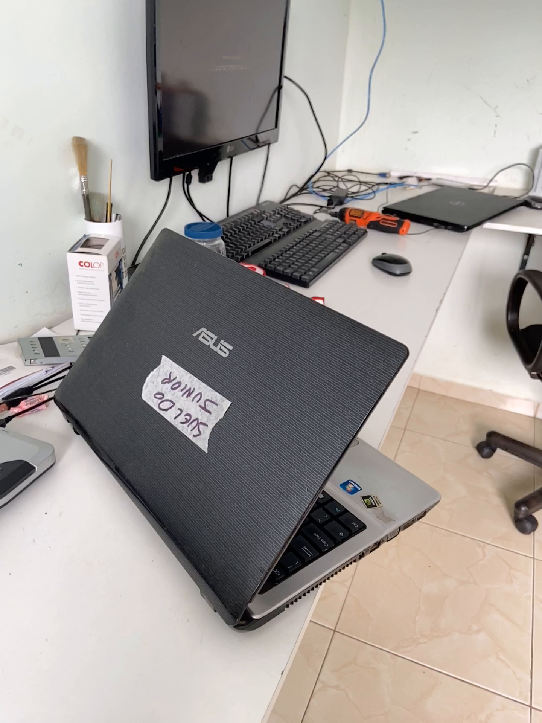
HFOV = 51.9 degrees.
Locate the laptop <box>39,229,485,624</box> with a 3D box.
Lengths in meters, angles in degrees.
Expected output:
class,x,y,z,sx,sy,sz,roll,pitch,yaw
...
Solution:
class,x,y,z,sx,sy,sz,roll,pitch,yaw
laptop,-0.035,0.011,0.570,0.247,0.182,0.377,-18,34,-34
